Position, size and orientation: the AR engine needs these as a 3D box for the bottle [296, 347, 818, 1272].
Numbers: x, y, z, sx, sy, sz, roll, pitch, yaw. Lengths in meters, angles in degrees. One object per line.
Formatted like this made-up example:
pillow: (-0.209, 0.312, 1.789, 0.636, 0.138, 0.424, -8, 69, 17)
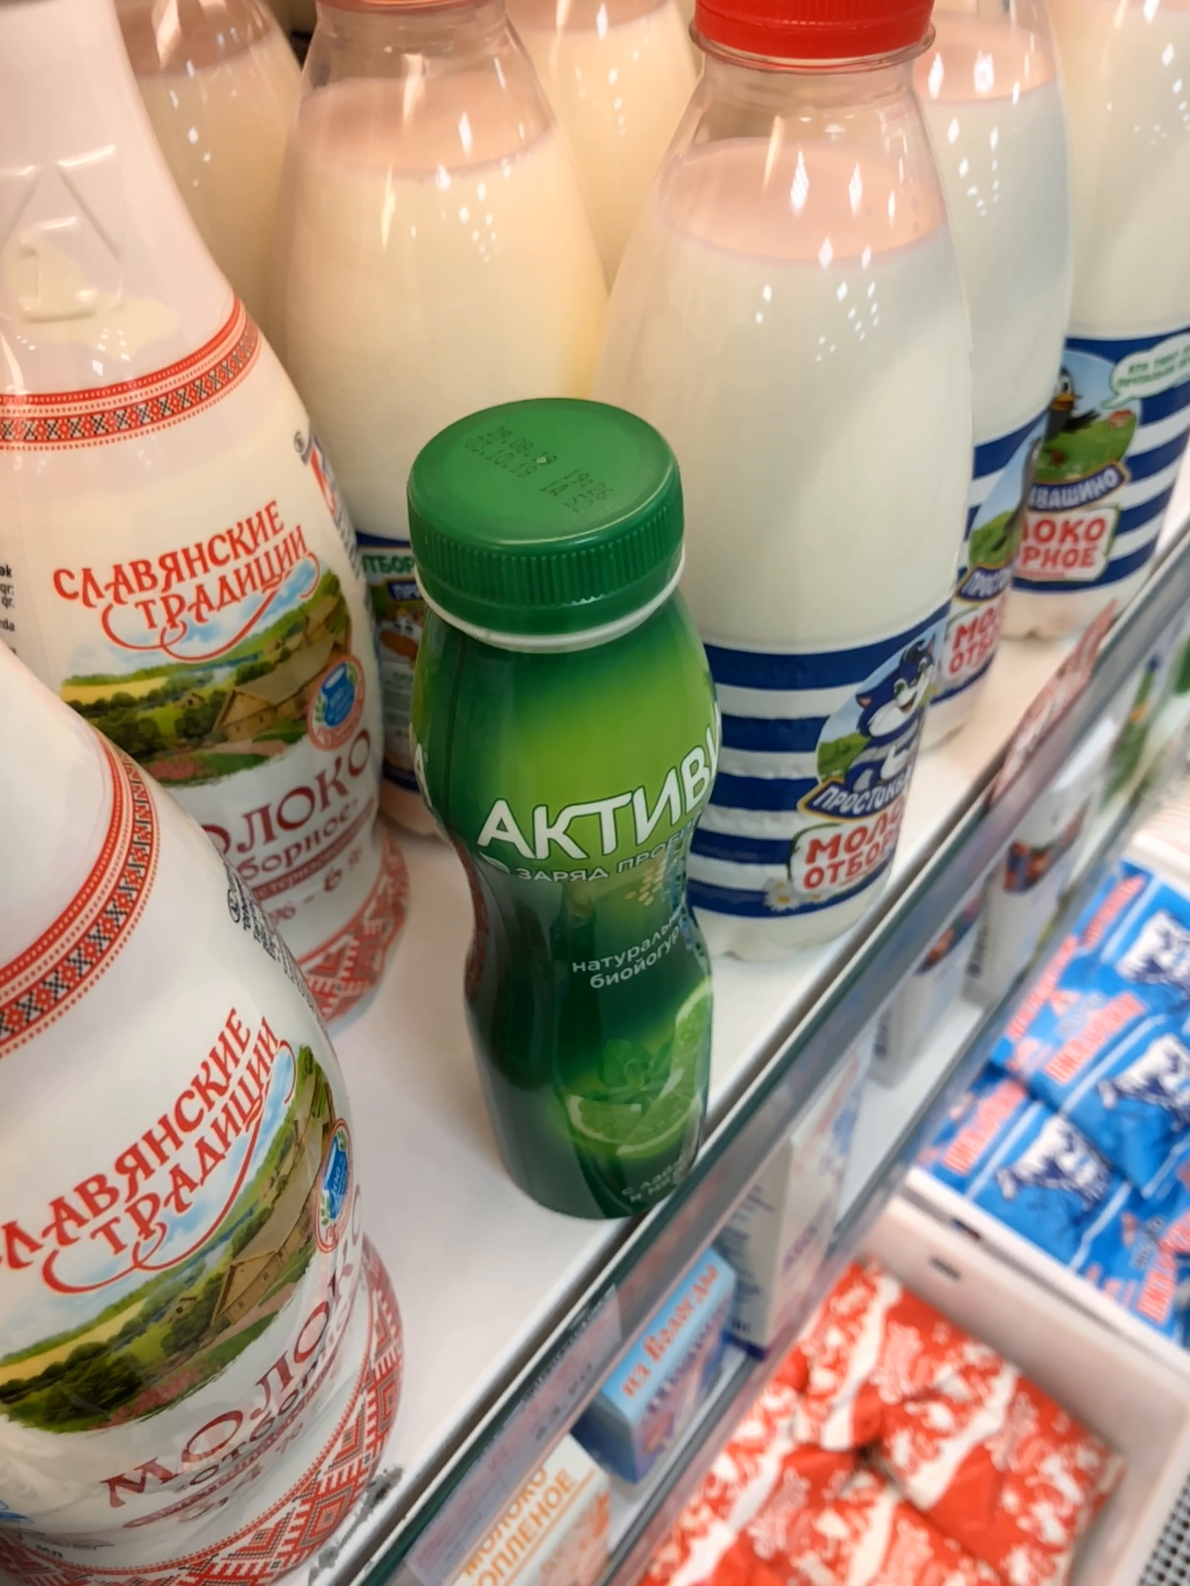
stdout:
bottle: (-0.004, 0.017, 0.253, 0.053, 0.179, 0.052, -1, 47, 1)
